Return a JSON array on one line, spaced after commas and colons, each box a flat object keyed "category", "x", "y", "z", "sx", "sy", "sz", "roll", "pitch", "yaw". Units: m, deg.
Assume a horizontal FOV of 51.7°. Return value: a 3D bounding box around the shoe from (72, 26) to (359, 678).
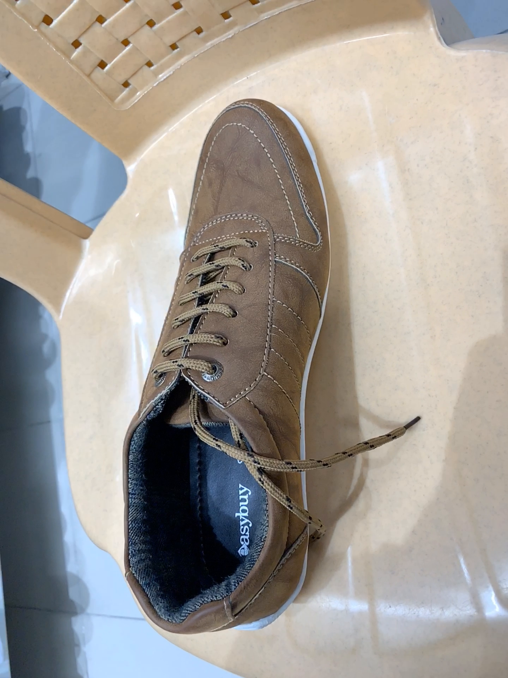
[{"category": "shoe", "x": -0.009, "y": 0.003, "z": 0.303, "sx": 0.100, "sy": 0.100, "sz": 0.310, "roll": -5, "pitch": 73, "yaw": 33}]
